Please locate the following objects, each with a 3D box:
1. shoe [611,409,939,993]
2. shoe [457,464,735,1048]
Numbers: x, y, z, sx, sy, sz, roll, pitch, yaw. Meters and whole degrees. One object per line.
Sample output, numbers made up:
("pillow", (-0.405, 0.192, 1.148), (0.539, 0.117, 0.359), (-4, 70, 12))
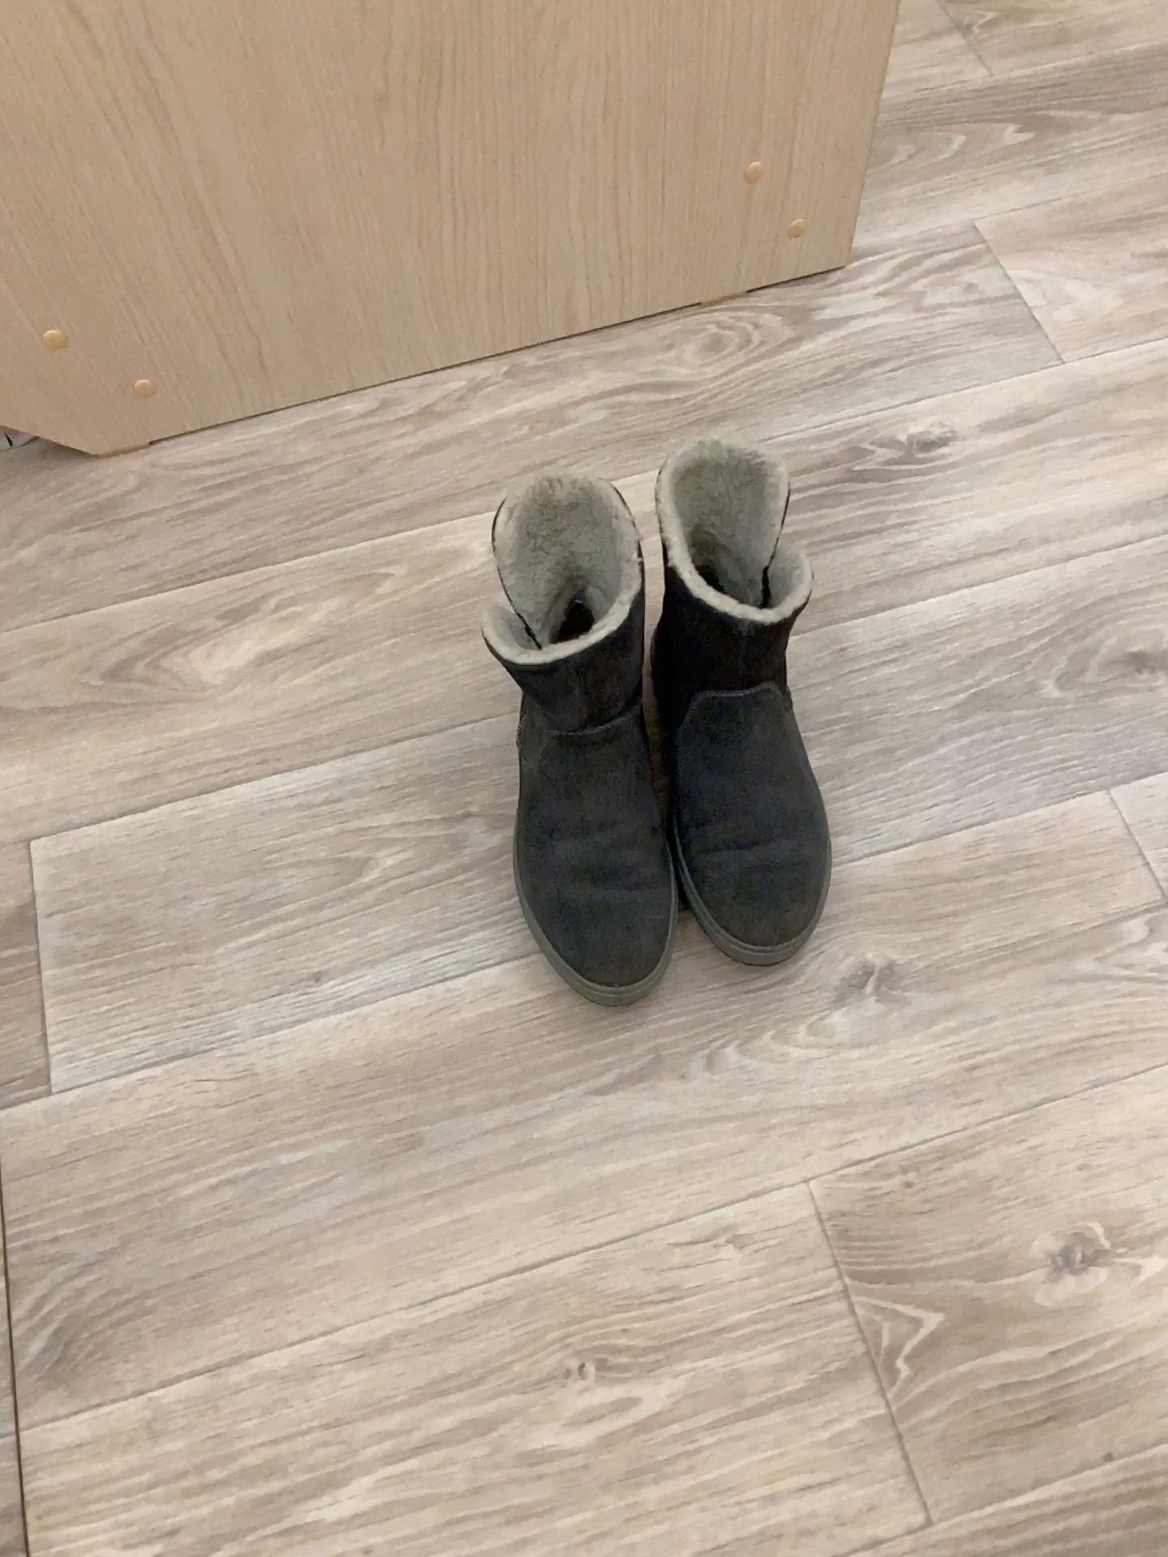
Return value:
("shoe", (0.091, -0.041, 0.680), (0.100, 0.170, 0.271), (-10, 63, -3))
("shoe", (0.002, -0.009, 0.685), (0.100, 0.180, 0.271), (-9, 63, -2))
